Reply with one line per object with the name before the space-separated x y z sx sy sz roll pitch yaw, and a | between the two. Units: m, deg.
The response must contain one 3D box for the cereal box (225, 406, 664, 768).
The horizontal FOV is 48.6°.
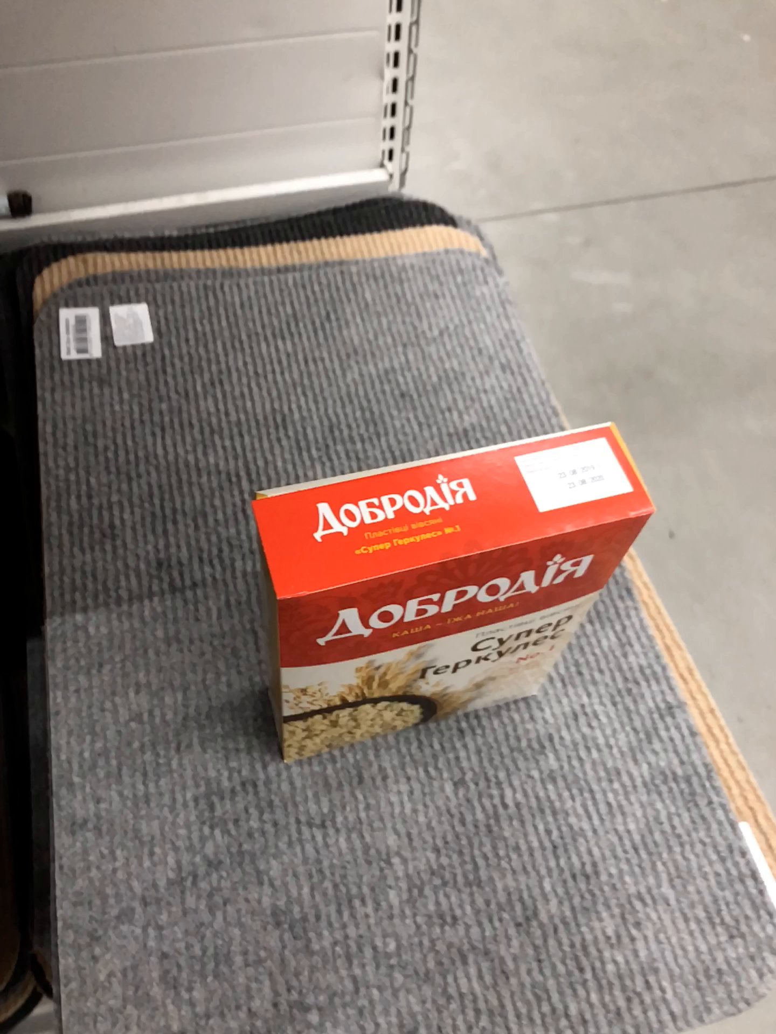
cereal box | 0.017 0.051 0.465 0.180 0.229 0.060 -12 60 -12
